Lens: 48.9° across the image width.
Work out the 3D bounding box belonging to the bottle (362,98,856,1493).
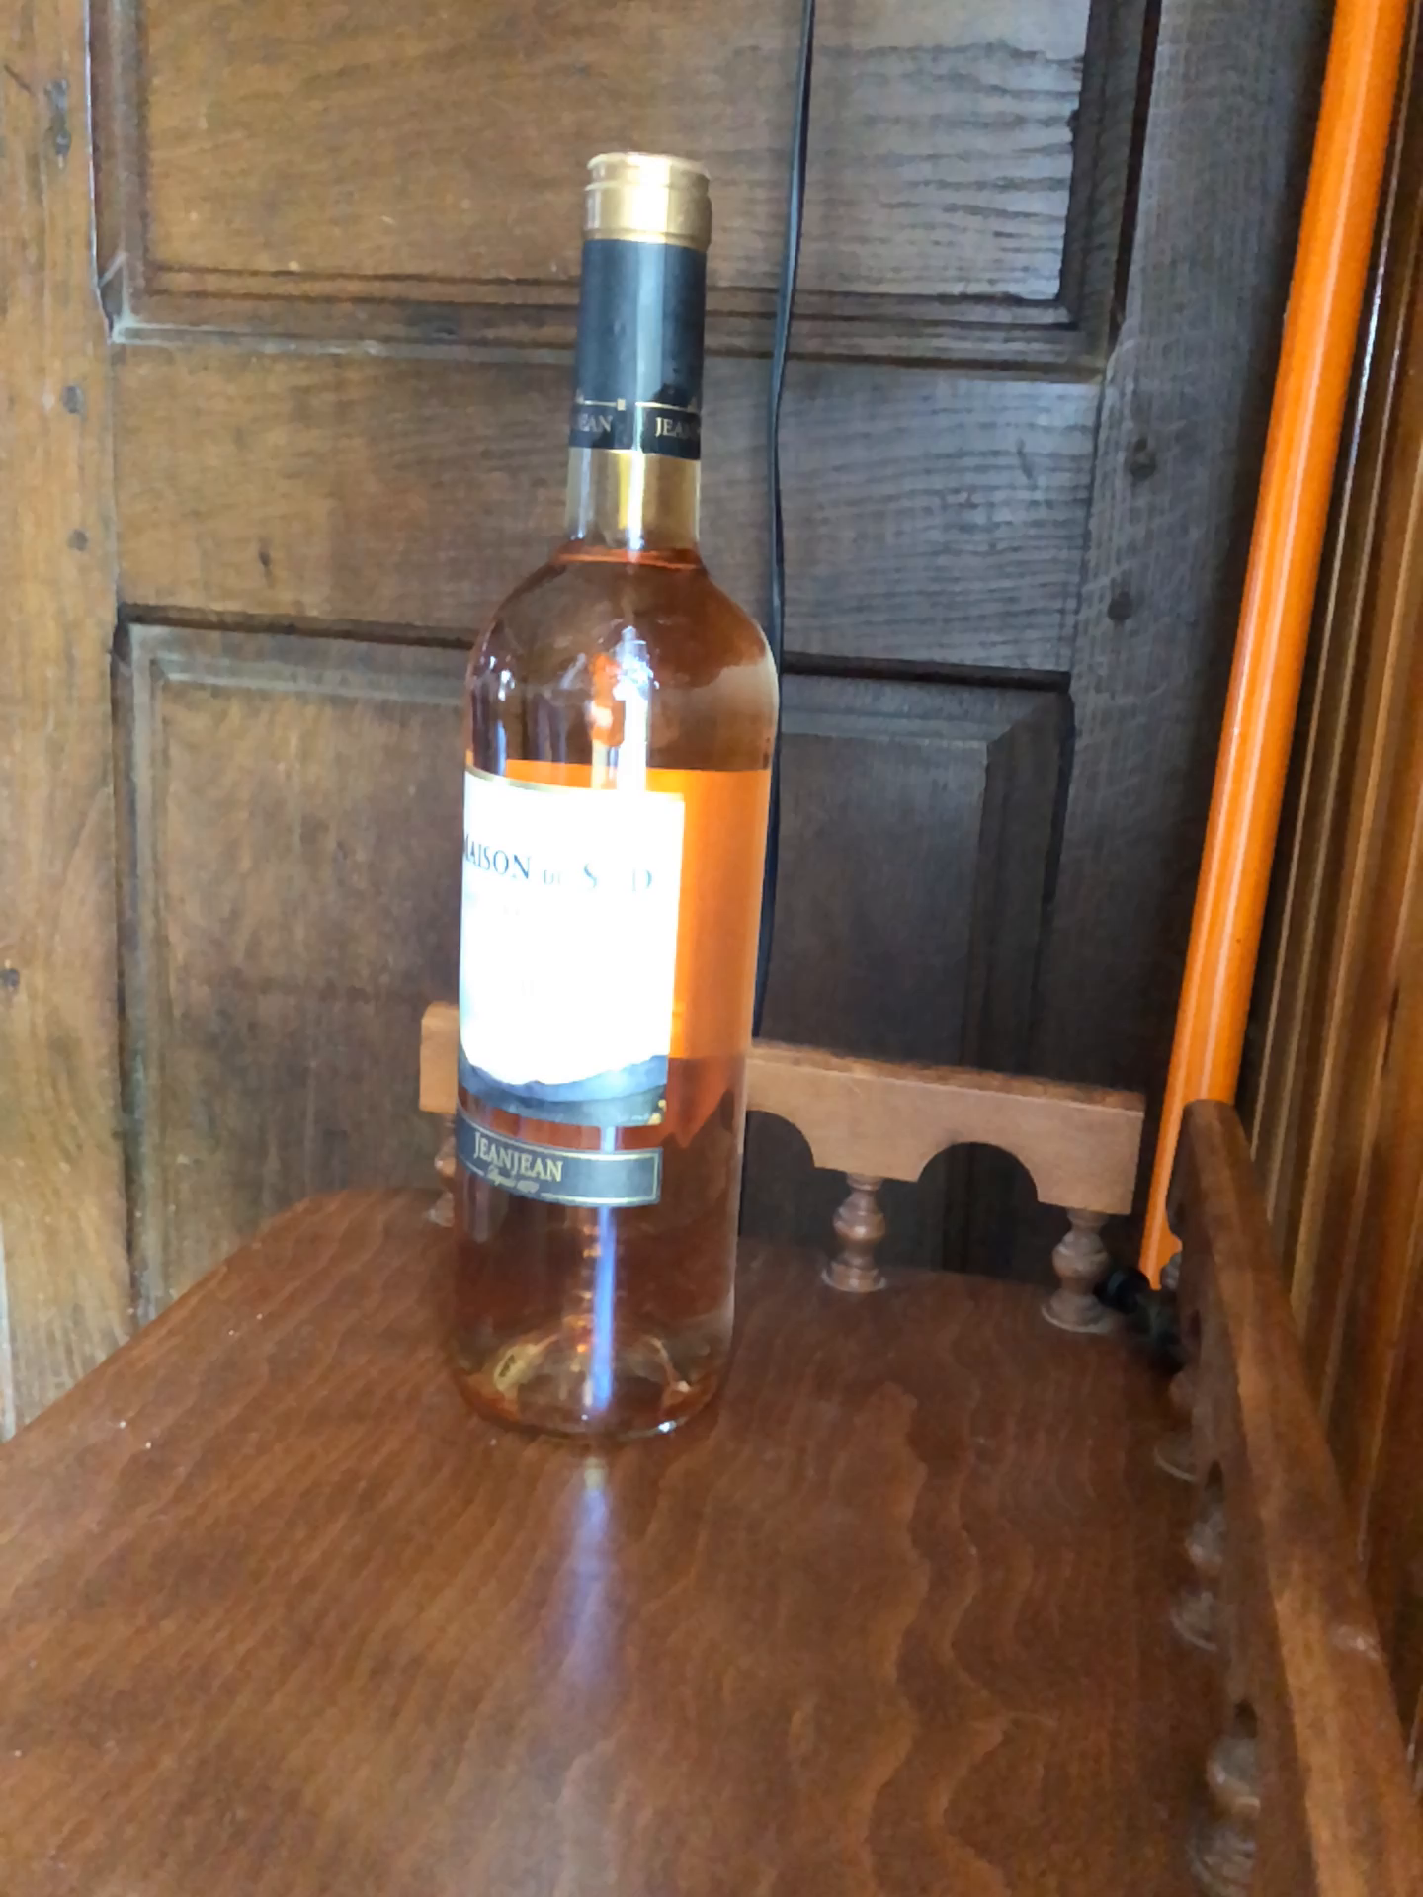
[{"bbox_3d":[-0.028,-0.030,0.370,0.080,0.289,0.070,11,16,28],"label":"bottle"}]
